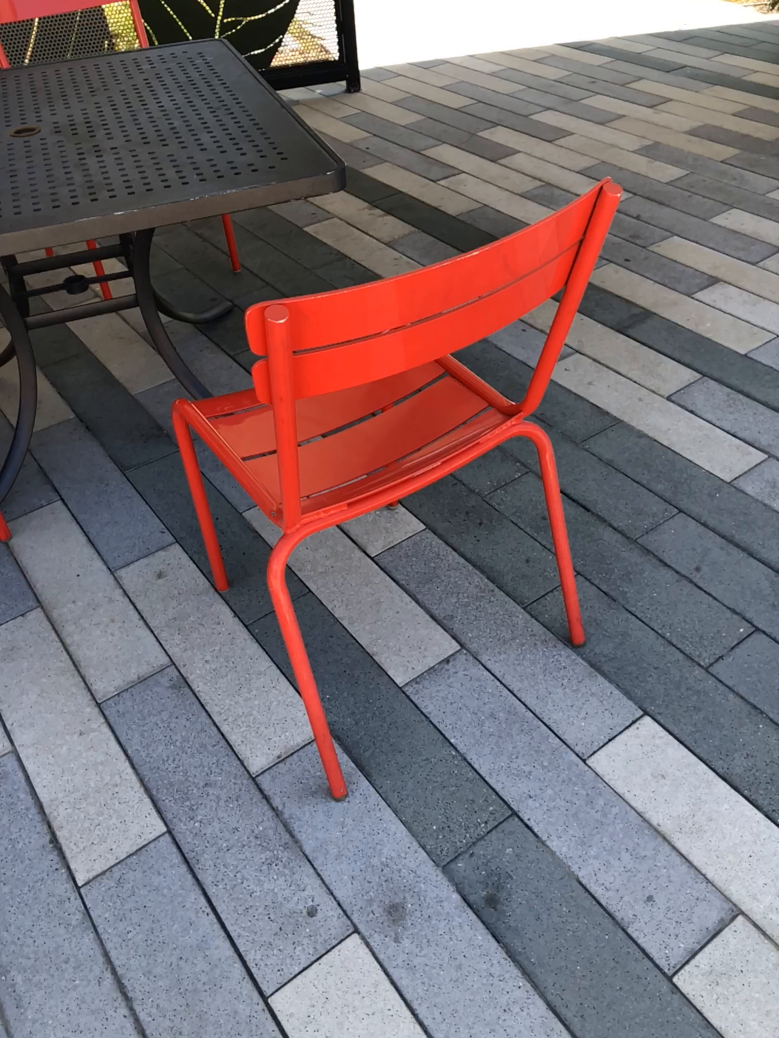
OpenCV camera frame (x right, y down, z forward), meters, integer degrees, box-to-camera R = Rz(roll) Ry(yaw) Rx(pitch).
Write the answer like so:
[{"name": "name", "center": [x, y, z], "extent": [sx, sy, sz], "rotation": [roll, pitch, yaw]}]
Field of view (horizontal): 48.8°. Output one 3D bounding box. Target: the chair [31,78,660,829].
[{"name": "chair", "center": [-0.062, -0.118, 1.482], "extent": [0.611, 0.956, 0.632], "rotation": [-27, 46, -24]}]
